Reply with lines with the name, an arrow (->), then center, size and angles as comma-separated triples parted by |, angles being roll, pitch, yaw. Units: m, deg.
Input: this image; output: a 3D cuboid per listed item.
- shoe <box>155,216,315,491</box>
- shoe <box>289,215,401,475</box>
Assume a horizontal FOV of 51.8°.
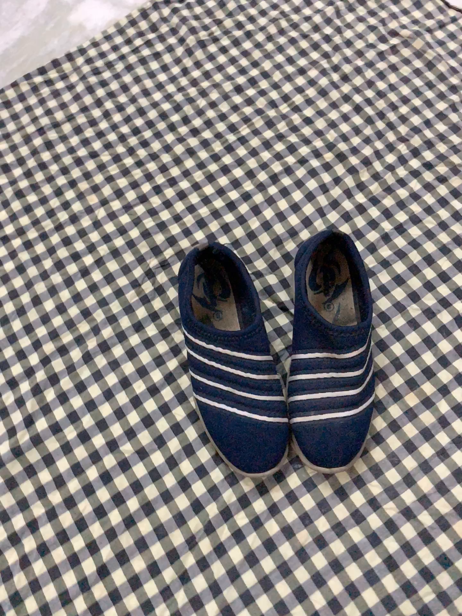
shoe -> 0.000, 0.044, 0.491 | 0.090, 0.090, 0.251 | -15, 70, -1
shoe -> 0.108, 0.039, 0.496 | 0.090, 0.100, 0.251 | 1, 71, 5
